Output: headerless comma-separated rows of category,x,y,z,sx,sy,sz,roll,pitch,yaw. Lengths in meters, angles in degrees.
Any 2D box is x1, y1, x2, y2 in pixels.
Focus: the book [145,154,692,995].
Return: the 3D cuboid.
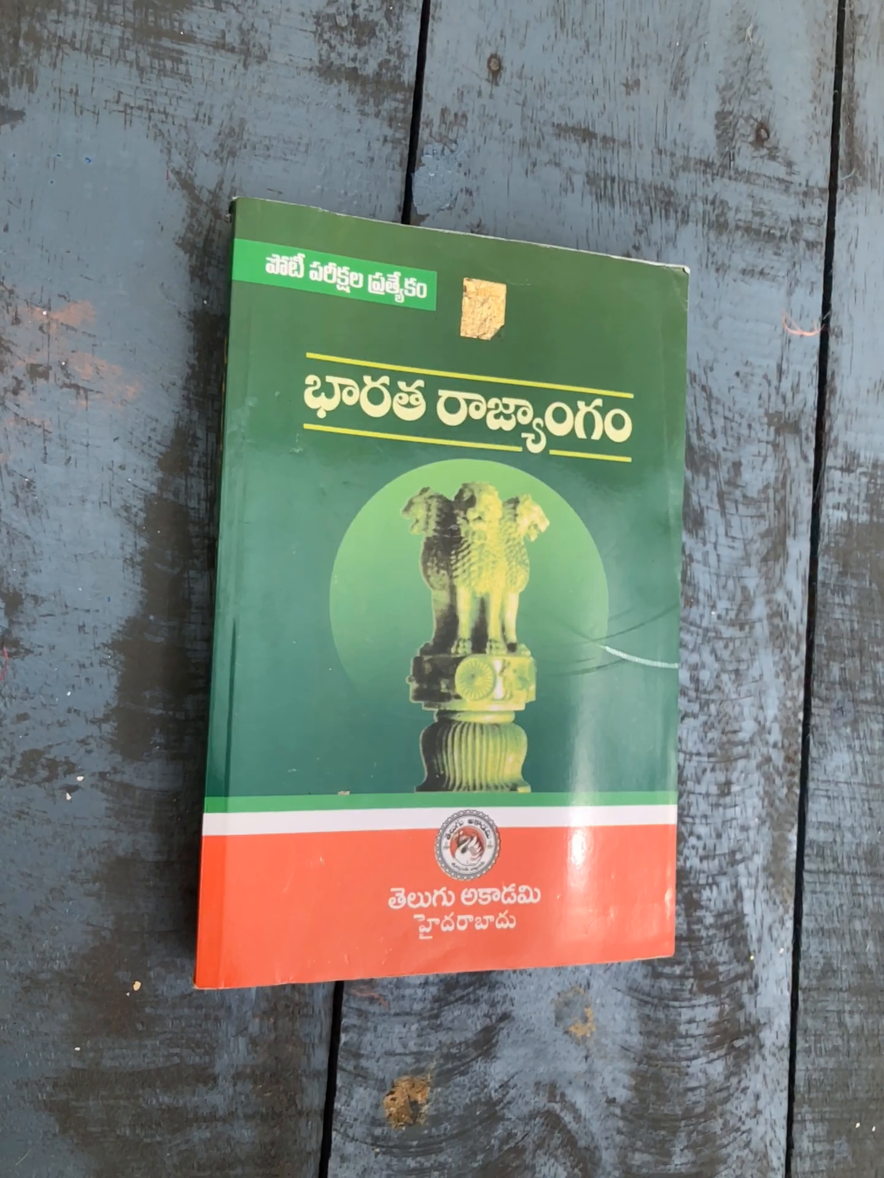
book,-0.004,-0.004,0.309,0.160,0.040,0.230,3,84,-17
